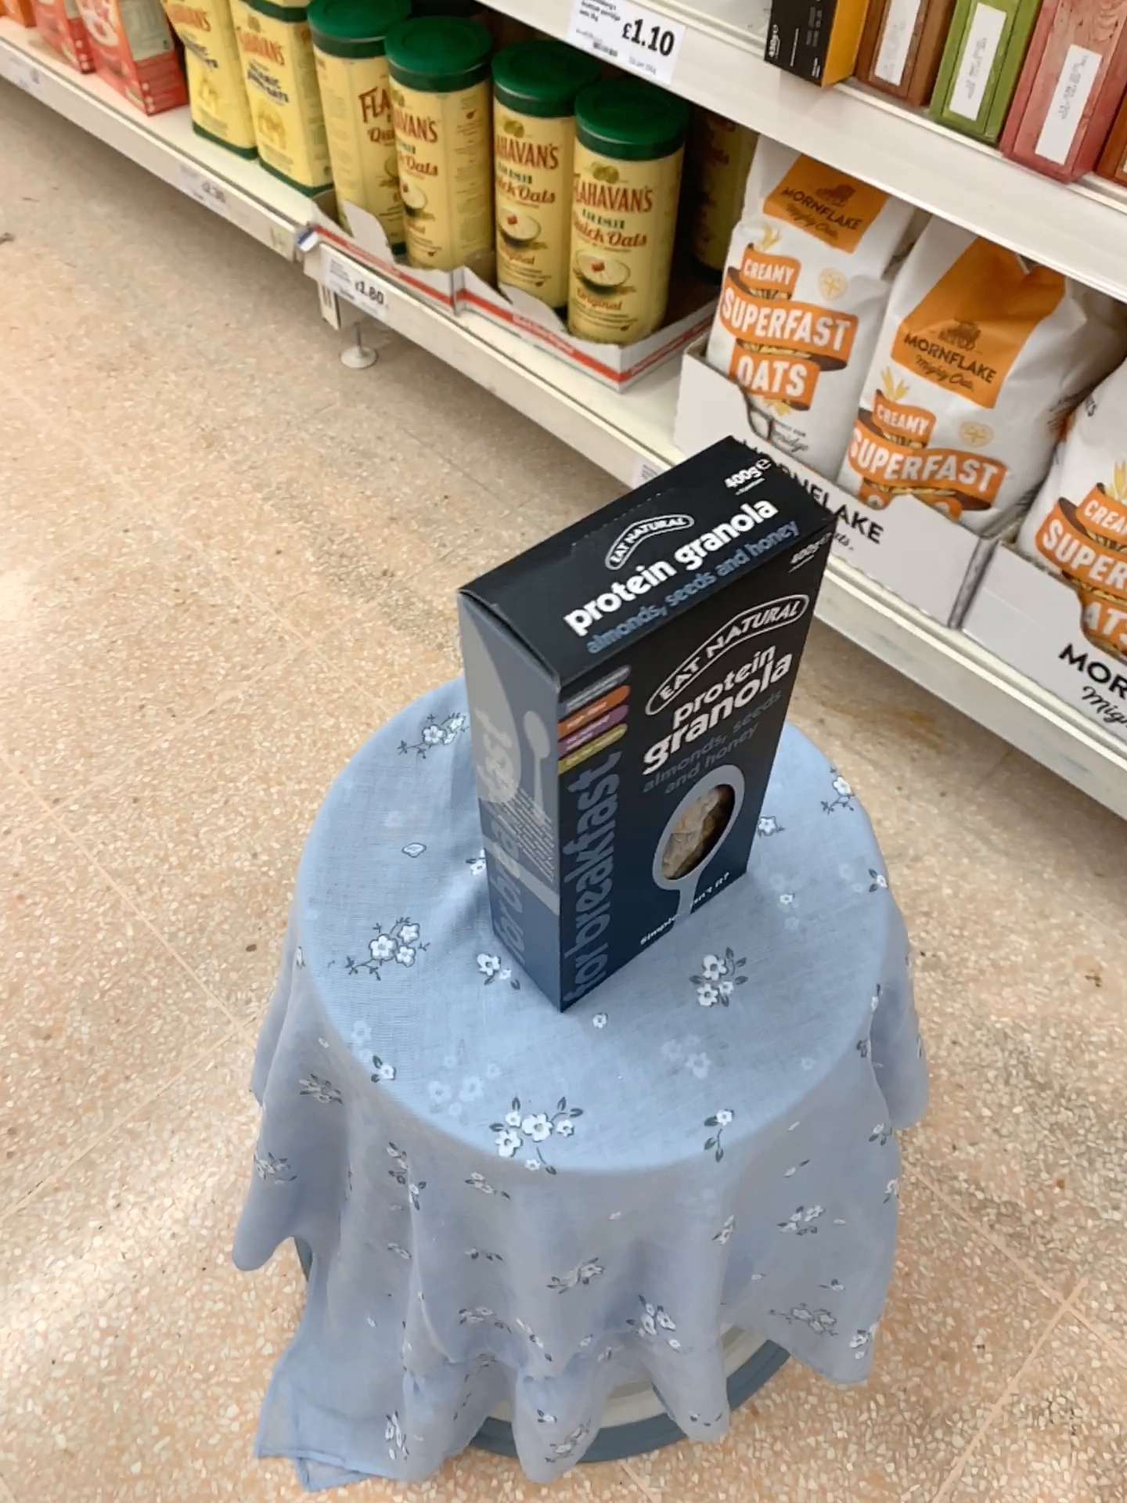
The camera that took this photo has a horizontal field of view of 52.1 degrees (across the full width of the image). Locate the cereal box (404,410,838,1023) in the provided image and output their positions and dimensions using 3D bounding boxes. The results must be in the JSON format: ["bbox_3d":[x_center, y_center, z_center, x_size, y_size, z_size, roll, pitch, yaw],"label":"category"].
[{"bbox_3d":[0.018,0.000,0.478,0.131,0.238,0.070,-34,62,-23],"label":"cereal box"}]
